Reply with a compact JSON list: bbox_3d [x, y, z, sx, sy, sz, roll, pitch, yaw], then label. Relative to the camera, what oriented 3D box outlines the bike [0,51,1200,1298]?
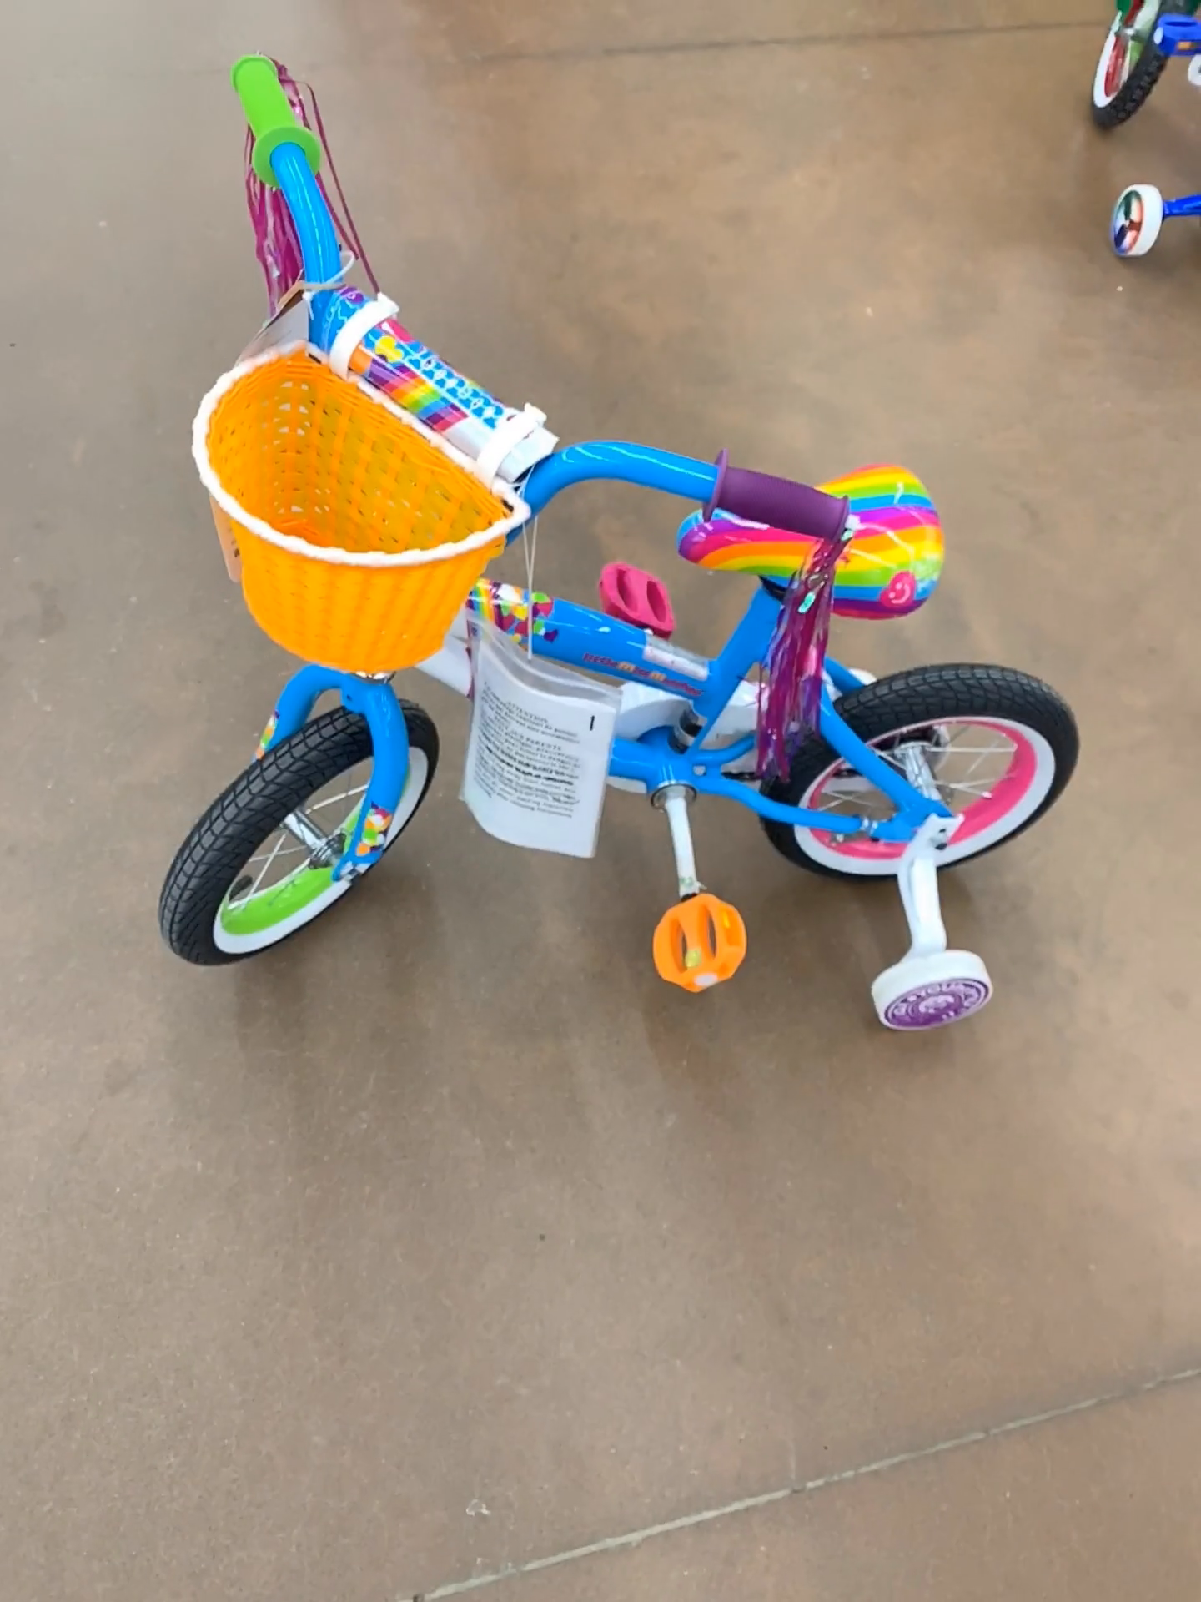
[{"bbox_3d":[0.052,-0.077,0.974,0.833,0.667,0.522,-8,53,-8],"label":"bike"}]
